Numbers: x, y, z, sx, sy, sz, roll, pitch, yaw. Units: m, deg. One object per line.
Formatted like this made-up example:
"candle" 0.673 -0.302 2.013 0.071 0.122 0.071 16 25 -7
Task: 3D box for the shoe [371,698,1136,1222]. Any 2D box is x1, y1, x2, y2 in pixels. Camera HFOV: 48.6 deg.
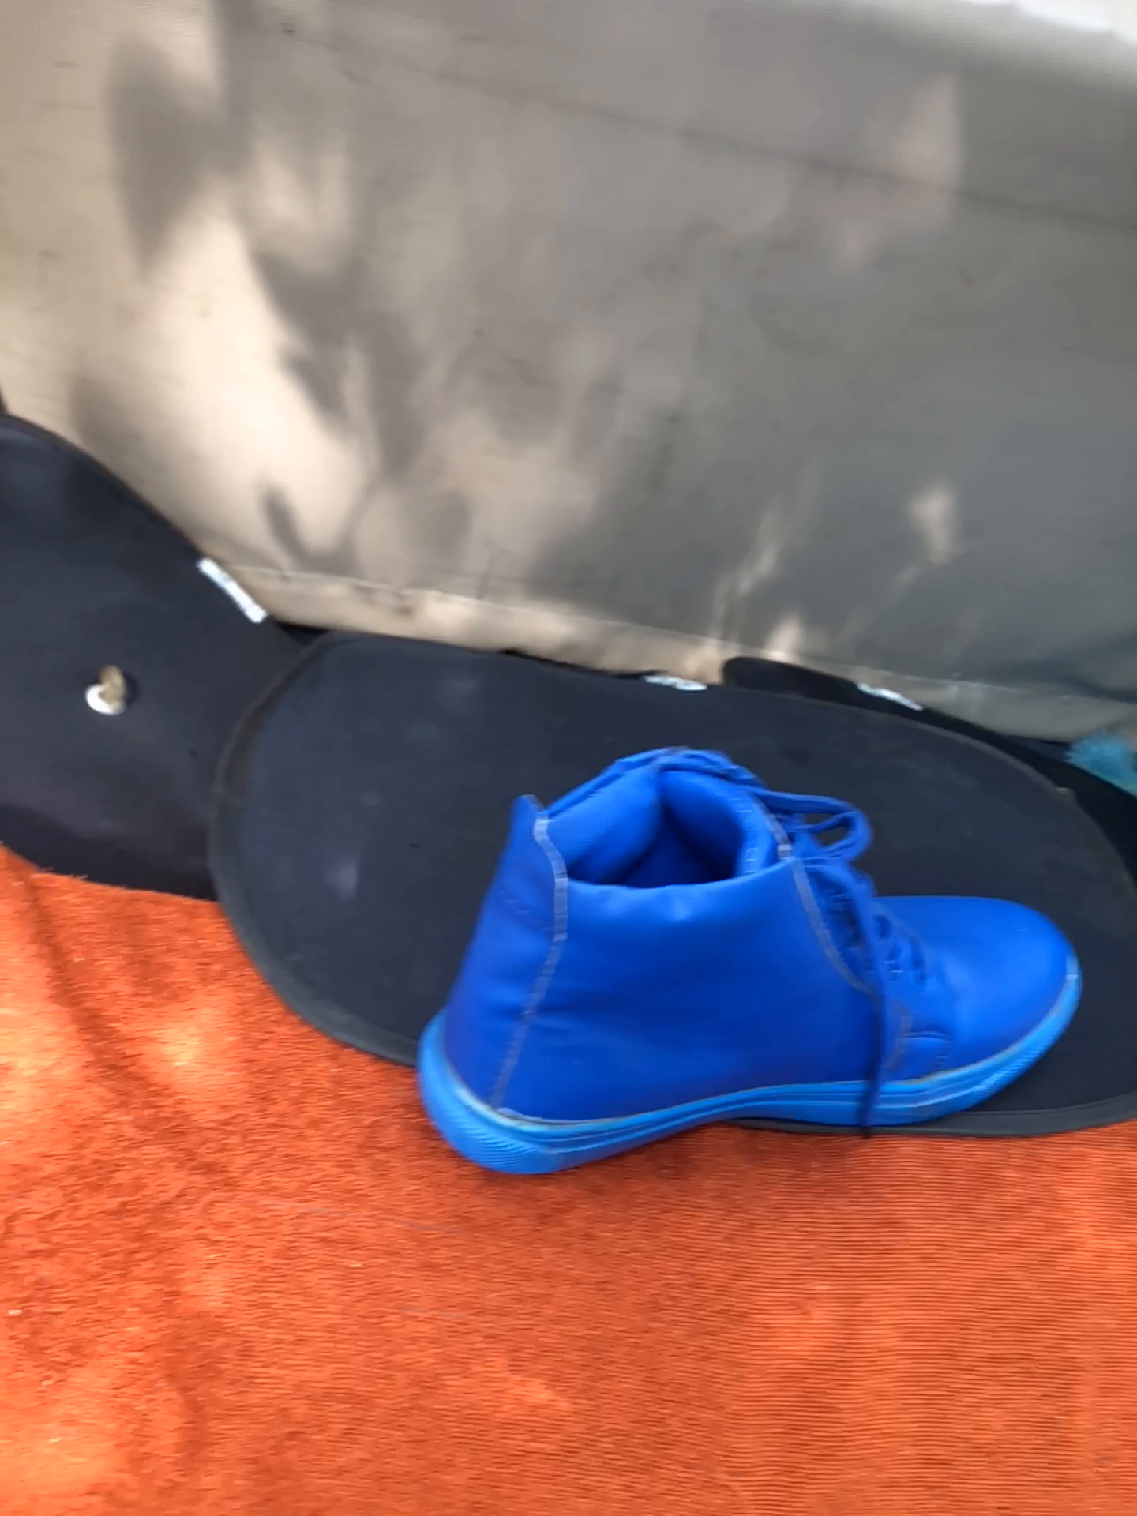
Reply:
"shoe" 0.086 0.066 0.475 0.291 0.139 0.100 -2 39 -22
